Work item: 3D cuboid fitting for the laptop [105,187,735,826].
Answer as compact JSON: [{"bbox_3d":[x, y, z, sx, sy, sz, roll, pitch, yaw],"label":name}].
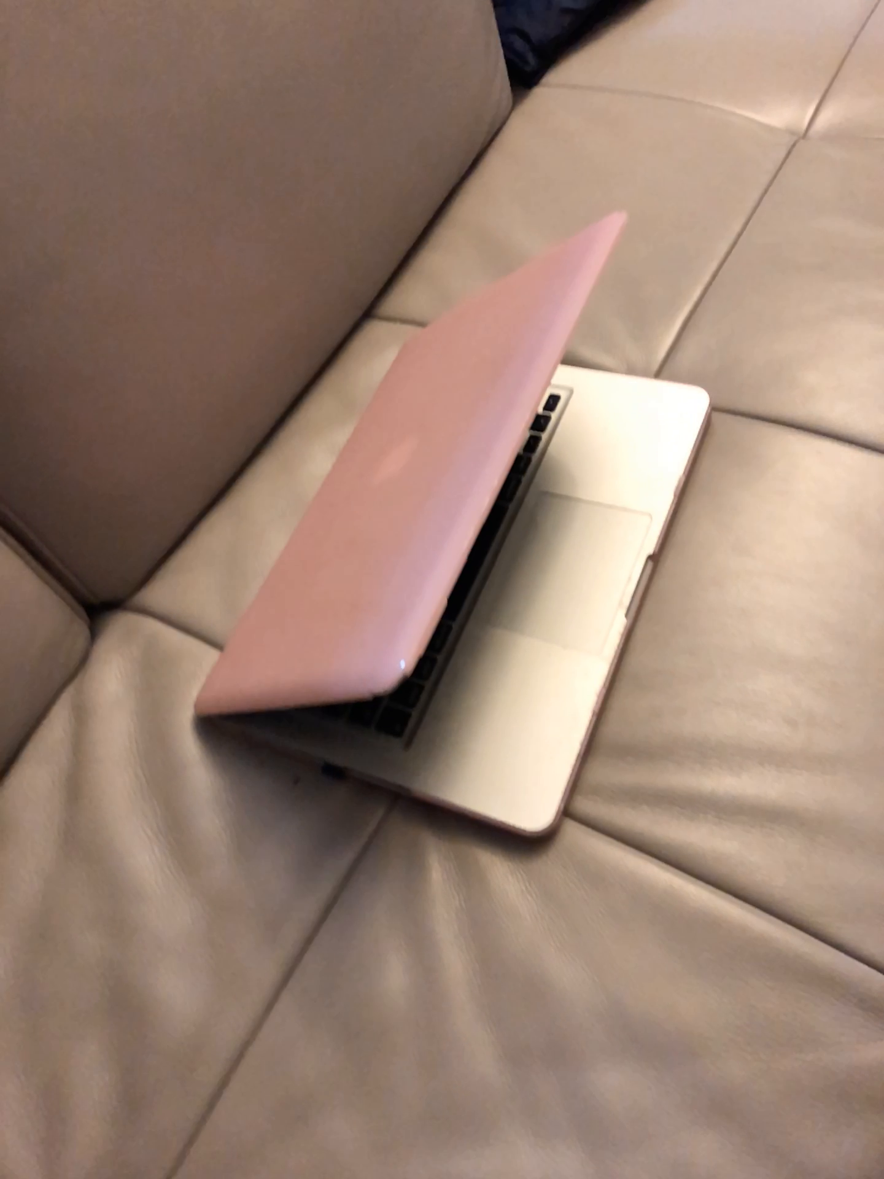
[{"bbox_3d":[0.008,-0.063,0.550,0.219,0.145,0.308,15,62,21],"label":"laptop"}]
